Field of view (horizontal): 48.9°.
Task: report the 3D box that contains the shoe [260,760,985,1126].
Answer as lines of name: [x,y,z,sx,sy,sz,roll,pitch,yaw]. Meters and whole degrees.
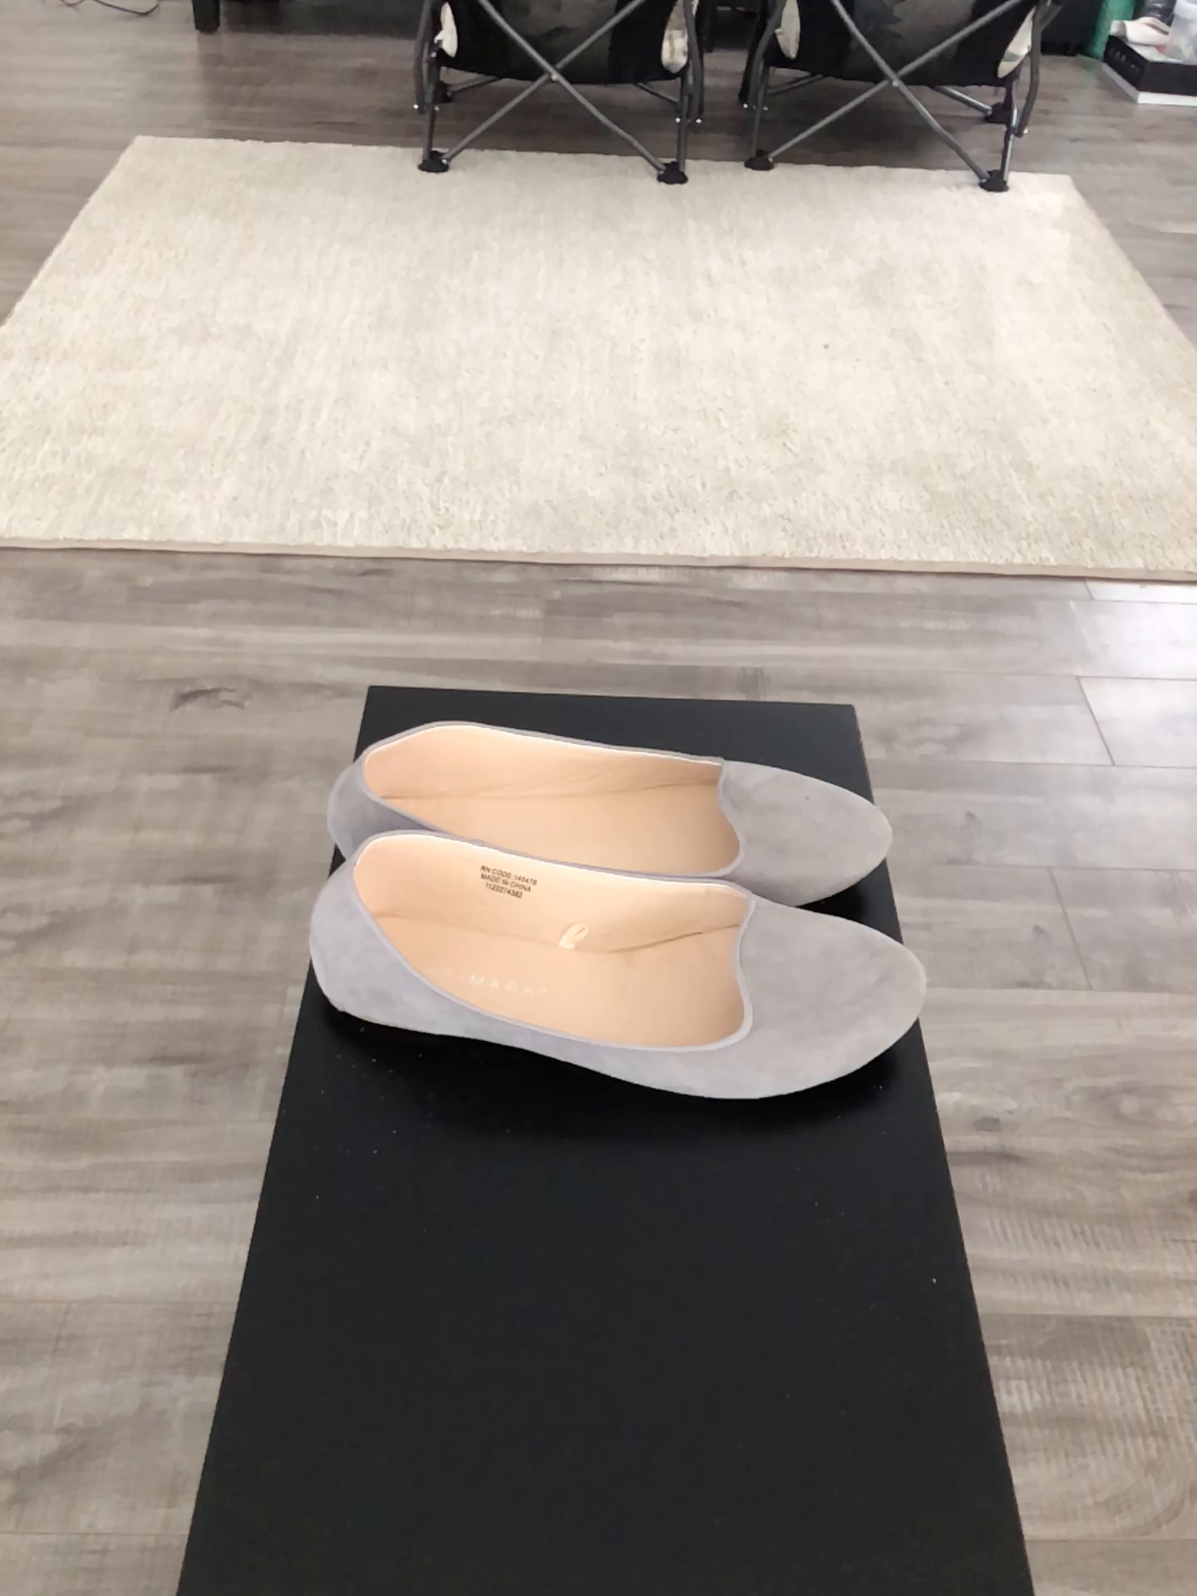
shoe: [0.008,0.057,0.526,0.253,0.090,0.100,3,44,0]

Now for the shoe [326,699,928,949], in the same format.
shoe: [0.010,0.011,0.602,0.250,0.060,0.100,0,44,-3]
